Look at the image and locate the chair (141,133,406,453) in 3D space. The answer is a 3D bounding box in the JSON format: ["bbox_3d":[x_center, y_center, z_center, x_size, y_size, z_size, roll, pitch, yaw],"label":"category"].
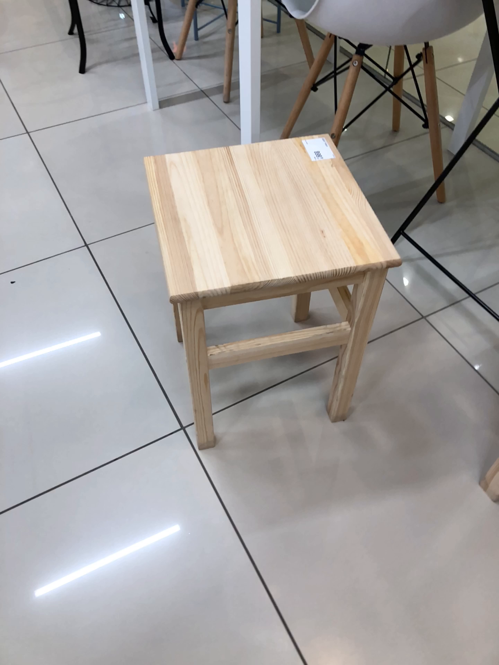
[{"bbox_3d":[0.017,-0.061,0.963,0.320,0.407,0.328,-10,51,-8],"label":"chair"}]
